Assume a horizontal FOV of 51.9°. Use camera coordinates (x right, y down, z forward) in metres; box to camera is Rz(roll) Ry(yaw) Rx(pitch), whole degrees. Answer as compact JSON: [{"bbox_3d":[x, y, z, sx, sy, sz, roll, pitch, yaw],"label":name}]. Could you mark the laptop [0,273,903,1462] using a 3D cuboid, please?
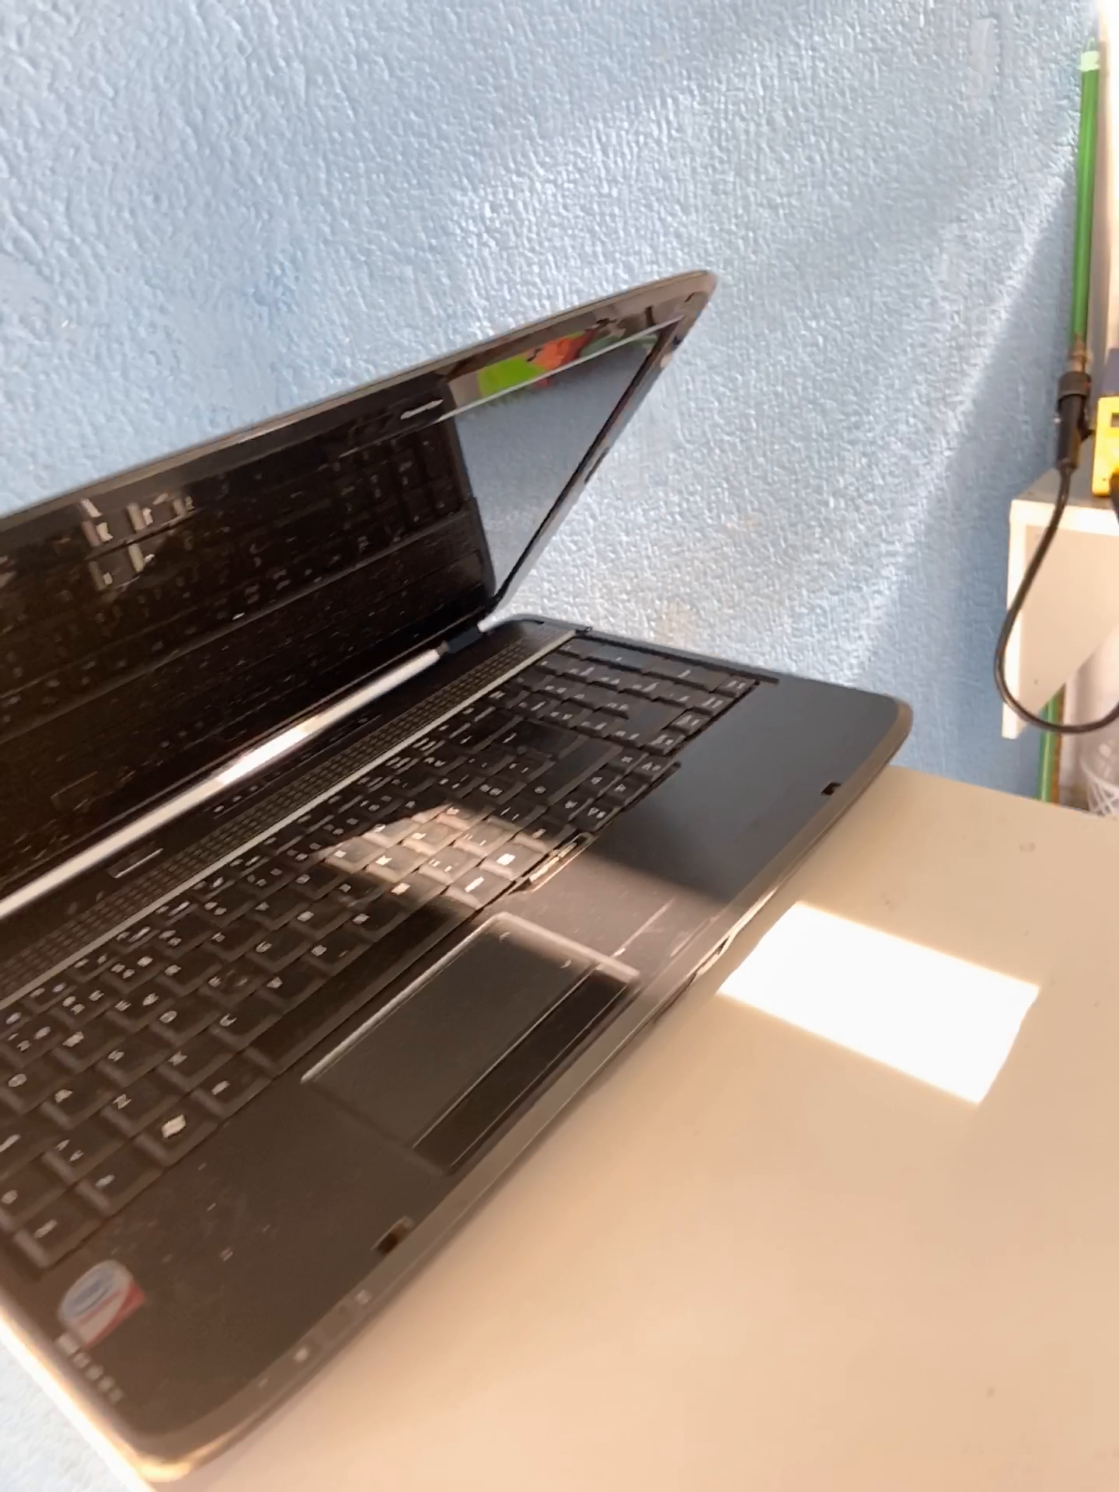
[{"bbox_3d":[-0.071,-0.032,0.405,0.236,0.174,0.379,14,36,38],"label":"laptop"}]
